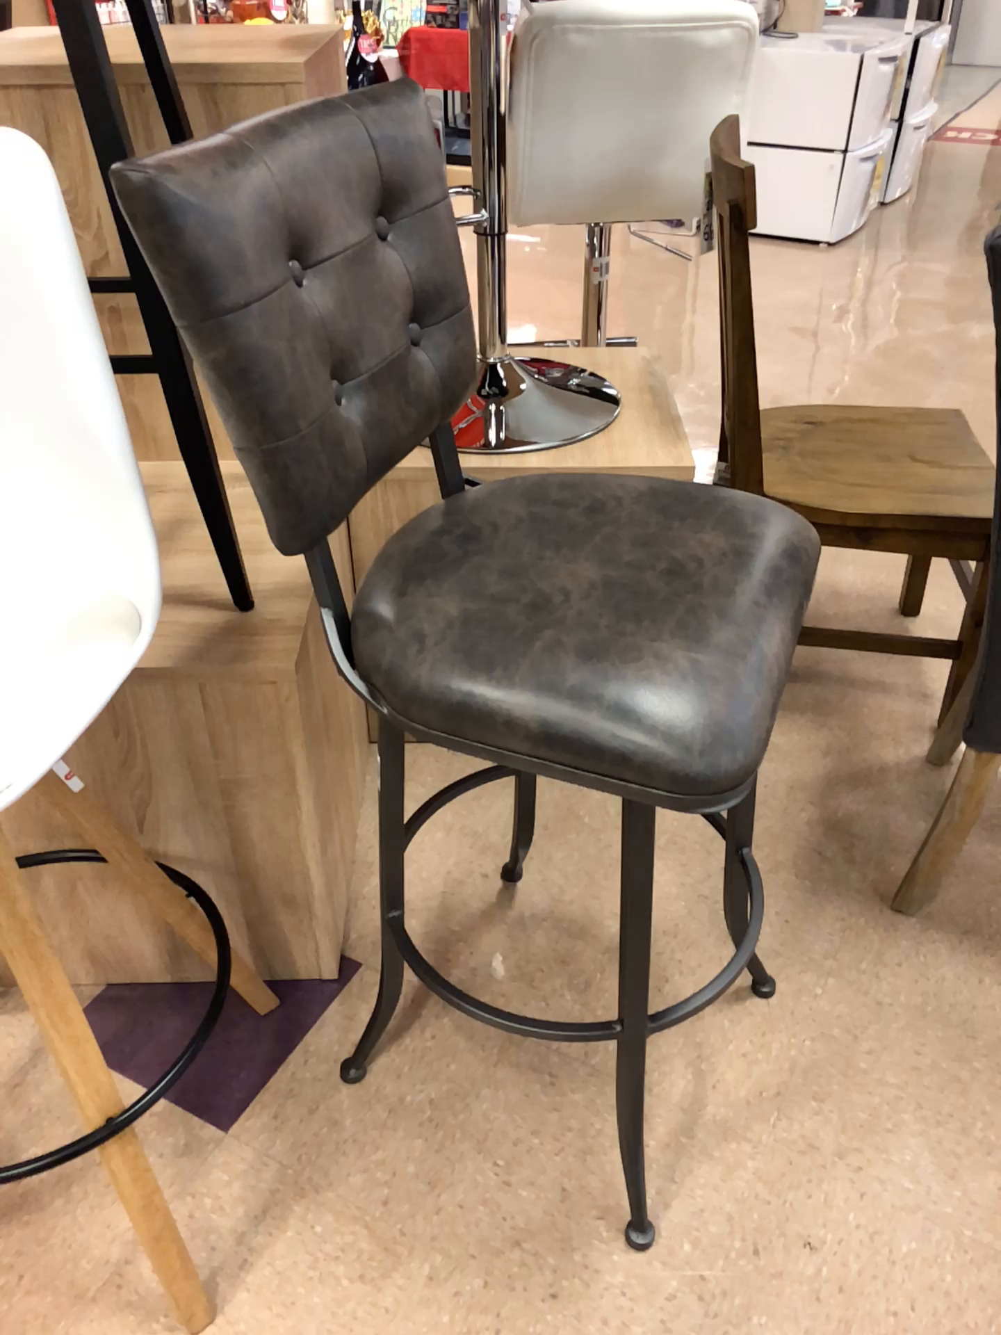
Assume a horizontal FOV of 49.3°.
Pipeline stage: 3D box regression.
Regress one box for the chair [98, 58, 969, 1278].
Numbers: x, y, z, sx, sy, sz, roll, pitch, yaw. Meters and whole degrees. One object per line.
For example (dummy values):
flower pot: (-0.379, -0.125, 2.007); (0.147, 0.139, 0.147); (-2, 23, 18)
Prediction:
chair: (0.079, 0.028, 1.158); (0.512, 1.107, 0.521); (13, 38, 19)
